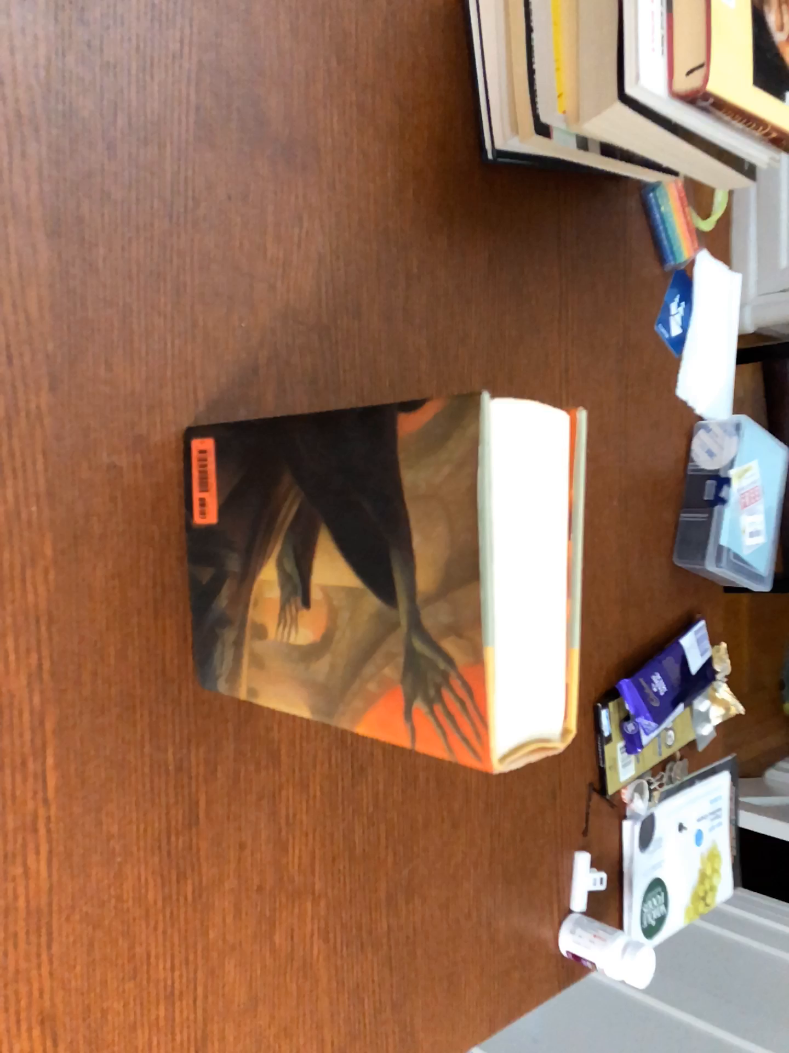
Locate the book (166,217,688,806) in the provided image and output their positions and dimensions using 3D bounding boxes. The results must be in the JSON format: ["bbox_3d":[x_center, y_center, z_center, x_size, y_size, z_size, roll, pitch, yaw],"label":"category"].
[{"bbox_3d":[-0.009,-0.008,0.439,0.070,0.299,0.210,0,91,-44],"label":"book"}]
